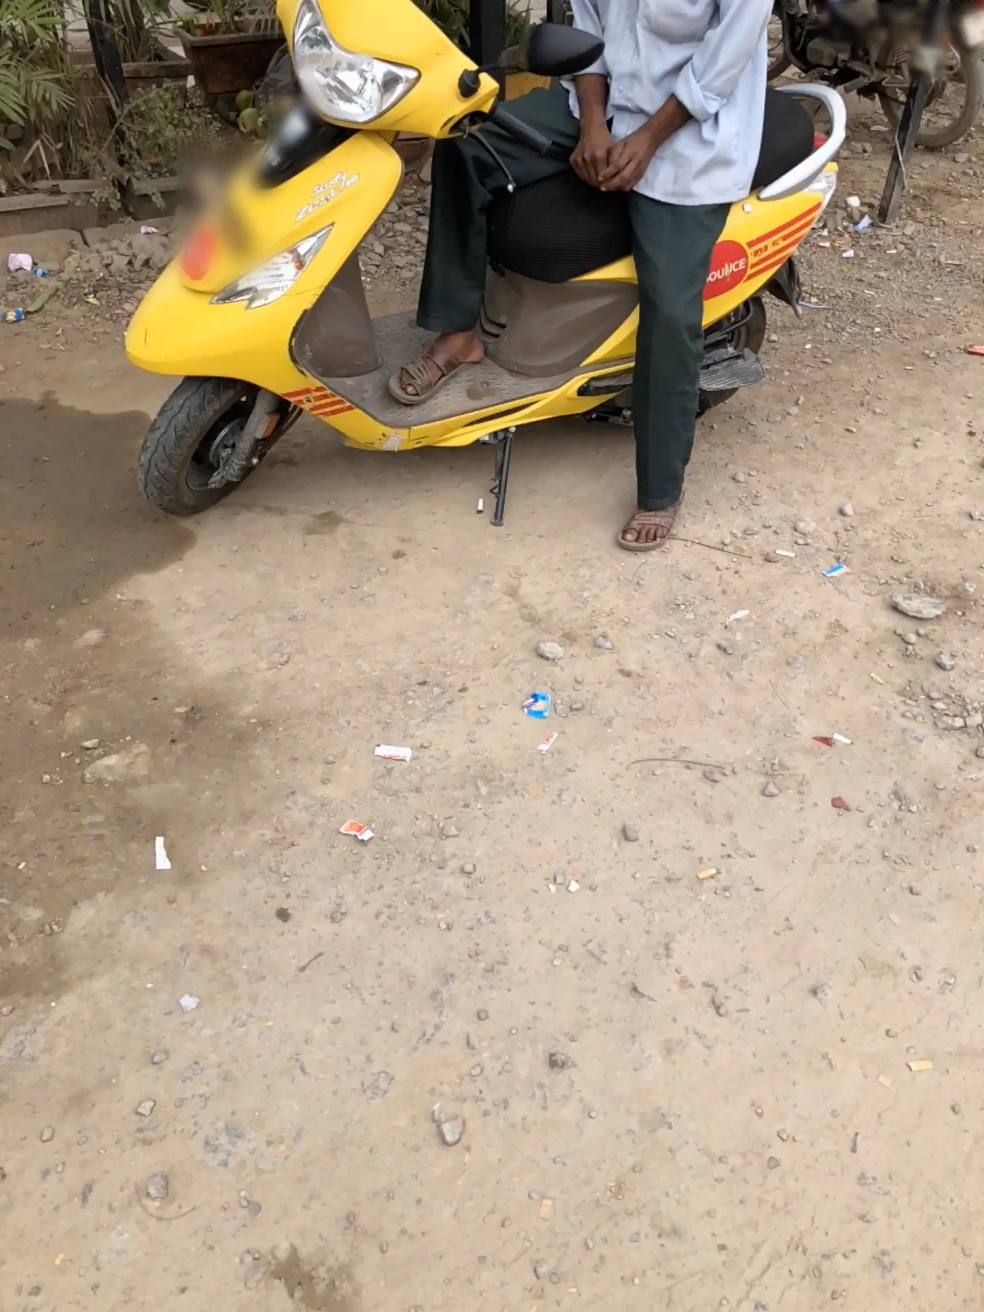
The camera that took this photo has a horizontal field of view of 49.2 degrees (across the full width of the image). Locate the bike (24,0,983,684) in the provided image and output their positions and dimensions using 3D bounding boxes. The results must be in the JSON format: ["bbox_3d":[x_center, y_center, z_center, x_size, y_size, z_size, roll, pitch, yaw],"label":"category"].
[{"bbox_3d":[-0.009,-0.885,2.483,1.657,1.160,0.892,-17,43,-19],"label":"bike"}]
